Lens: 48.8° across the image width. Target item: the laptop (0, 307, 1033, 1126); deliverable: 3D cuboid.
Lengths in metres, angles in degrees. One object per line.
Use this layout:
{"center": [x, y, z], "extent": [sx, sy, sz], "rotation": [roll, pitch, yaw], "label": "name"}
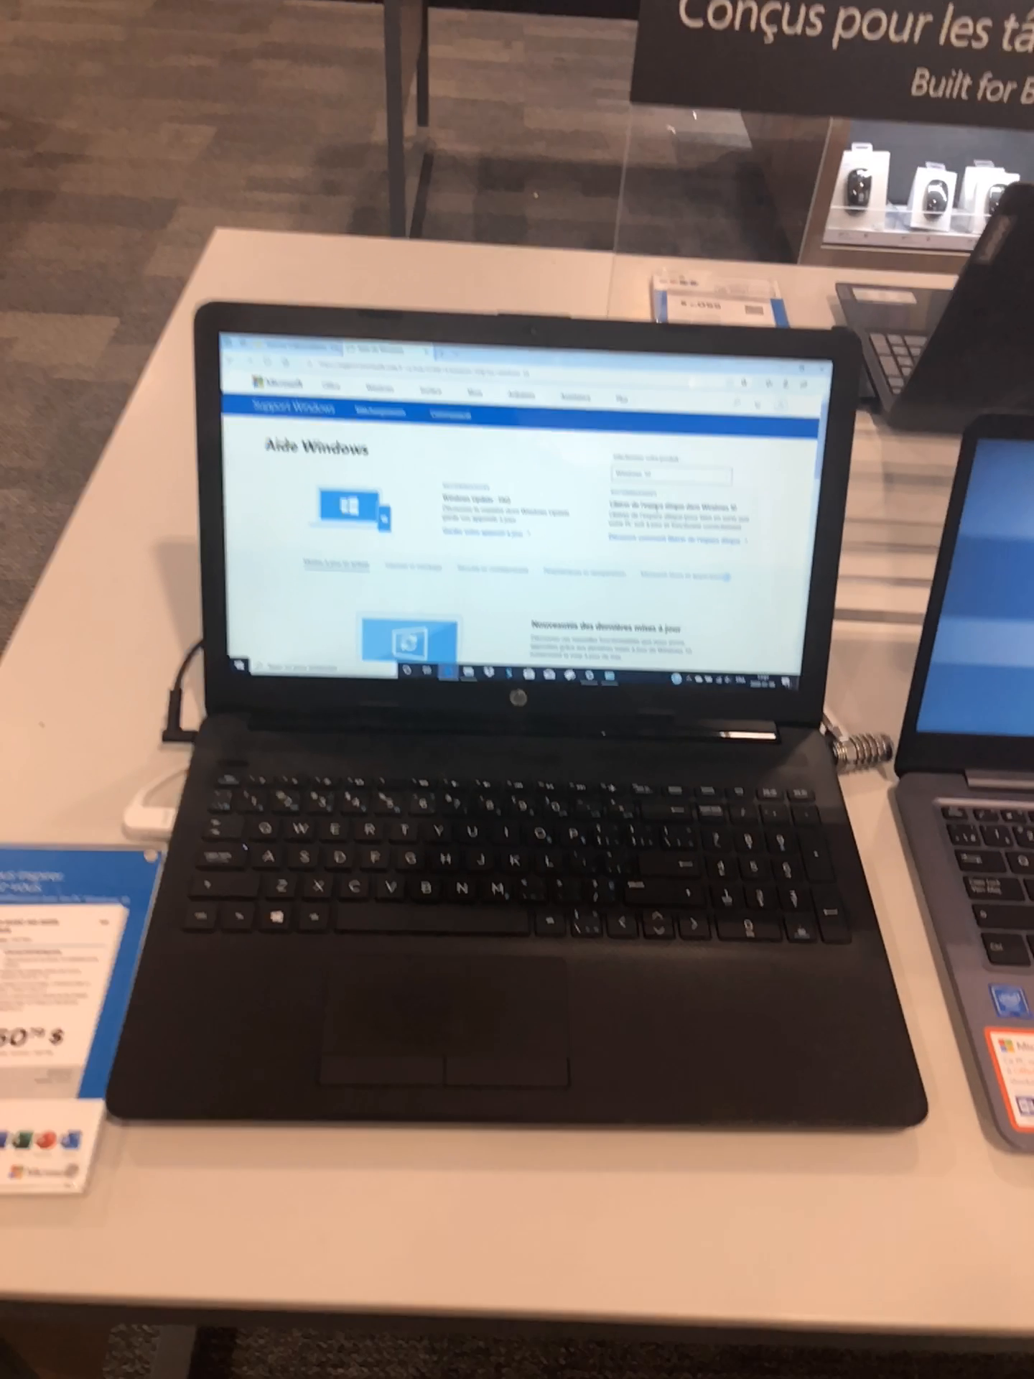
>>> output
{"center": [0.004, -0.008, 0.560], "extent": [0.356, 0.195, 0.361], "rotation": [1, 44, -2], "label": "laptop"}
